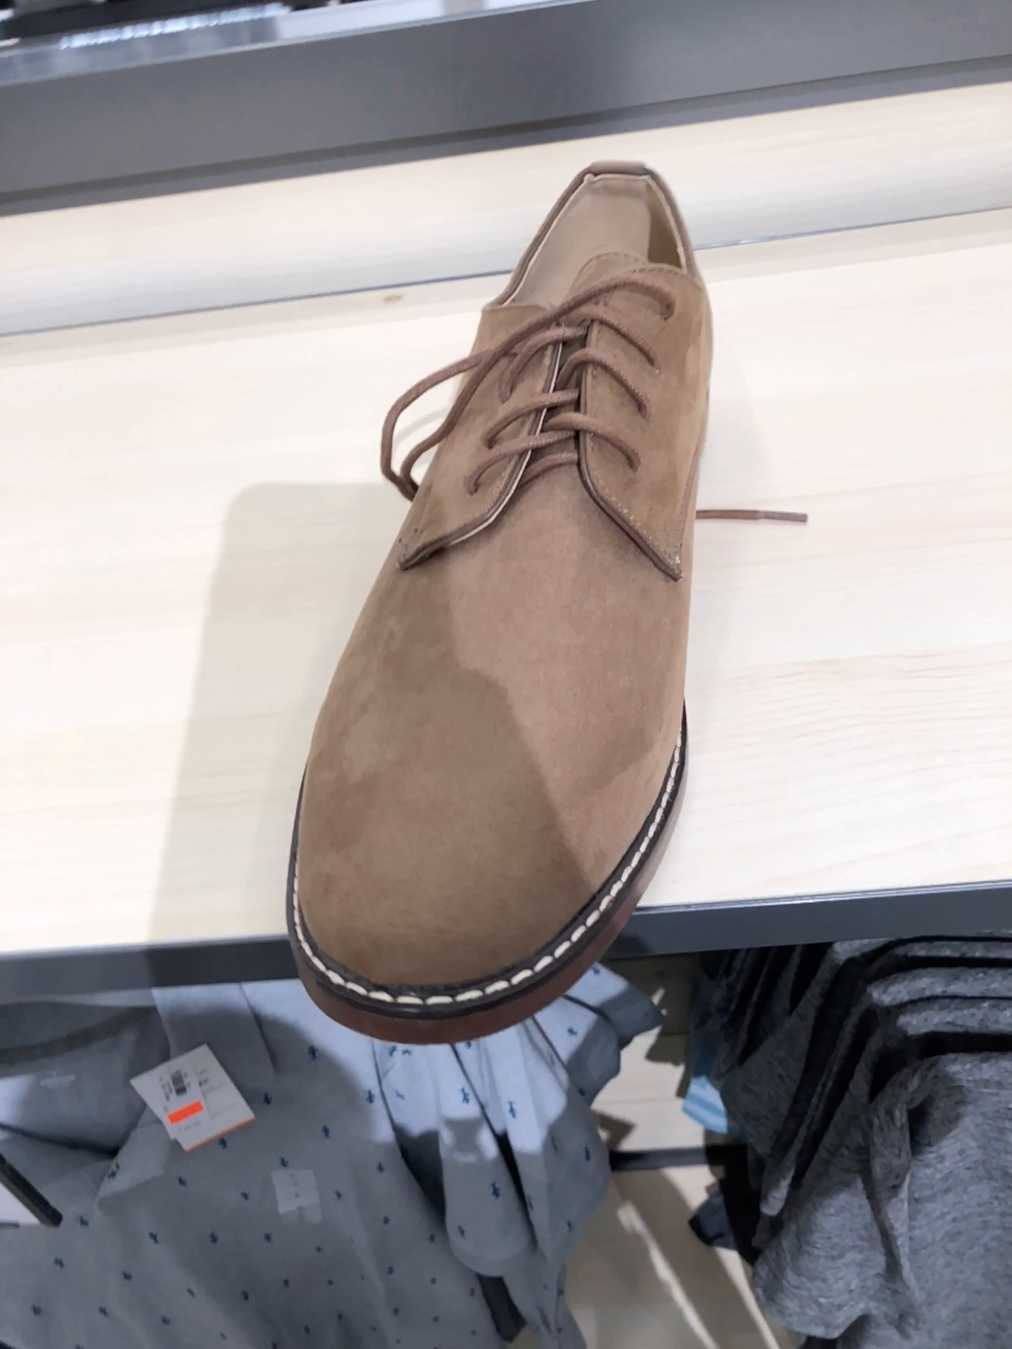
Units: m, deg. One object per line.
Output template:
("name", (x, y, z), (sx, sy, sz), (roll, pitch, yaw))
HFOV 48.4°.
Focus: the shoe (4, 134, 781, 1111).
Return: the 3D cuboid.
("shoe", (0.005, -0.048, 0.342), (0.120, 0.110, 0.301), (6, 46, 16))
